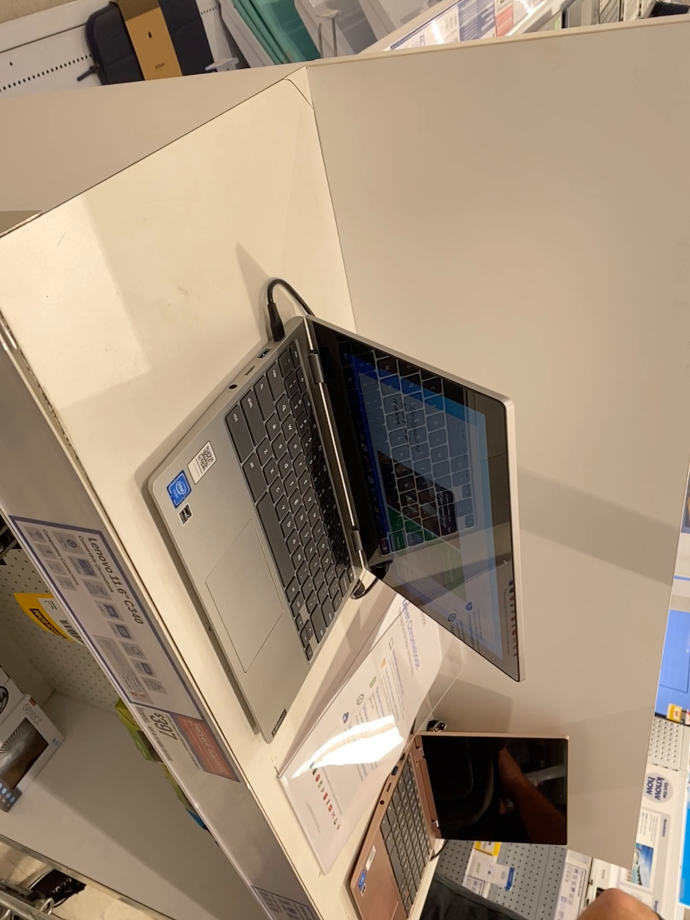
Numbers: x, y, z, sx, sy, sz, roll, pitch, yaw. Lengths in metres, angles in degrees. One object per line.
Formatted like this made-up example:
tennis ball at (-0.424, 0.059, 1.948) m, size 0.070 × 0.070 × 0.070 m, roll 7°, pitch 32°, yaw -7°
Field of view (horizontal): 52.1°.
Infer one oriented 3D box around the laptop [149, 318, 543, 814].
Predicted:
laptop at (0.033, 0.073, 0.532) m, size 0.201 × 0.180 × 0.285 m, roll -56°, pitch 144°, yaw -42°
